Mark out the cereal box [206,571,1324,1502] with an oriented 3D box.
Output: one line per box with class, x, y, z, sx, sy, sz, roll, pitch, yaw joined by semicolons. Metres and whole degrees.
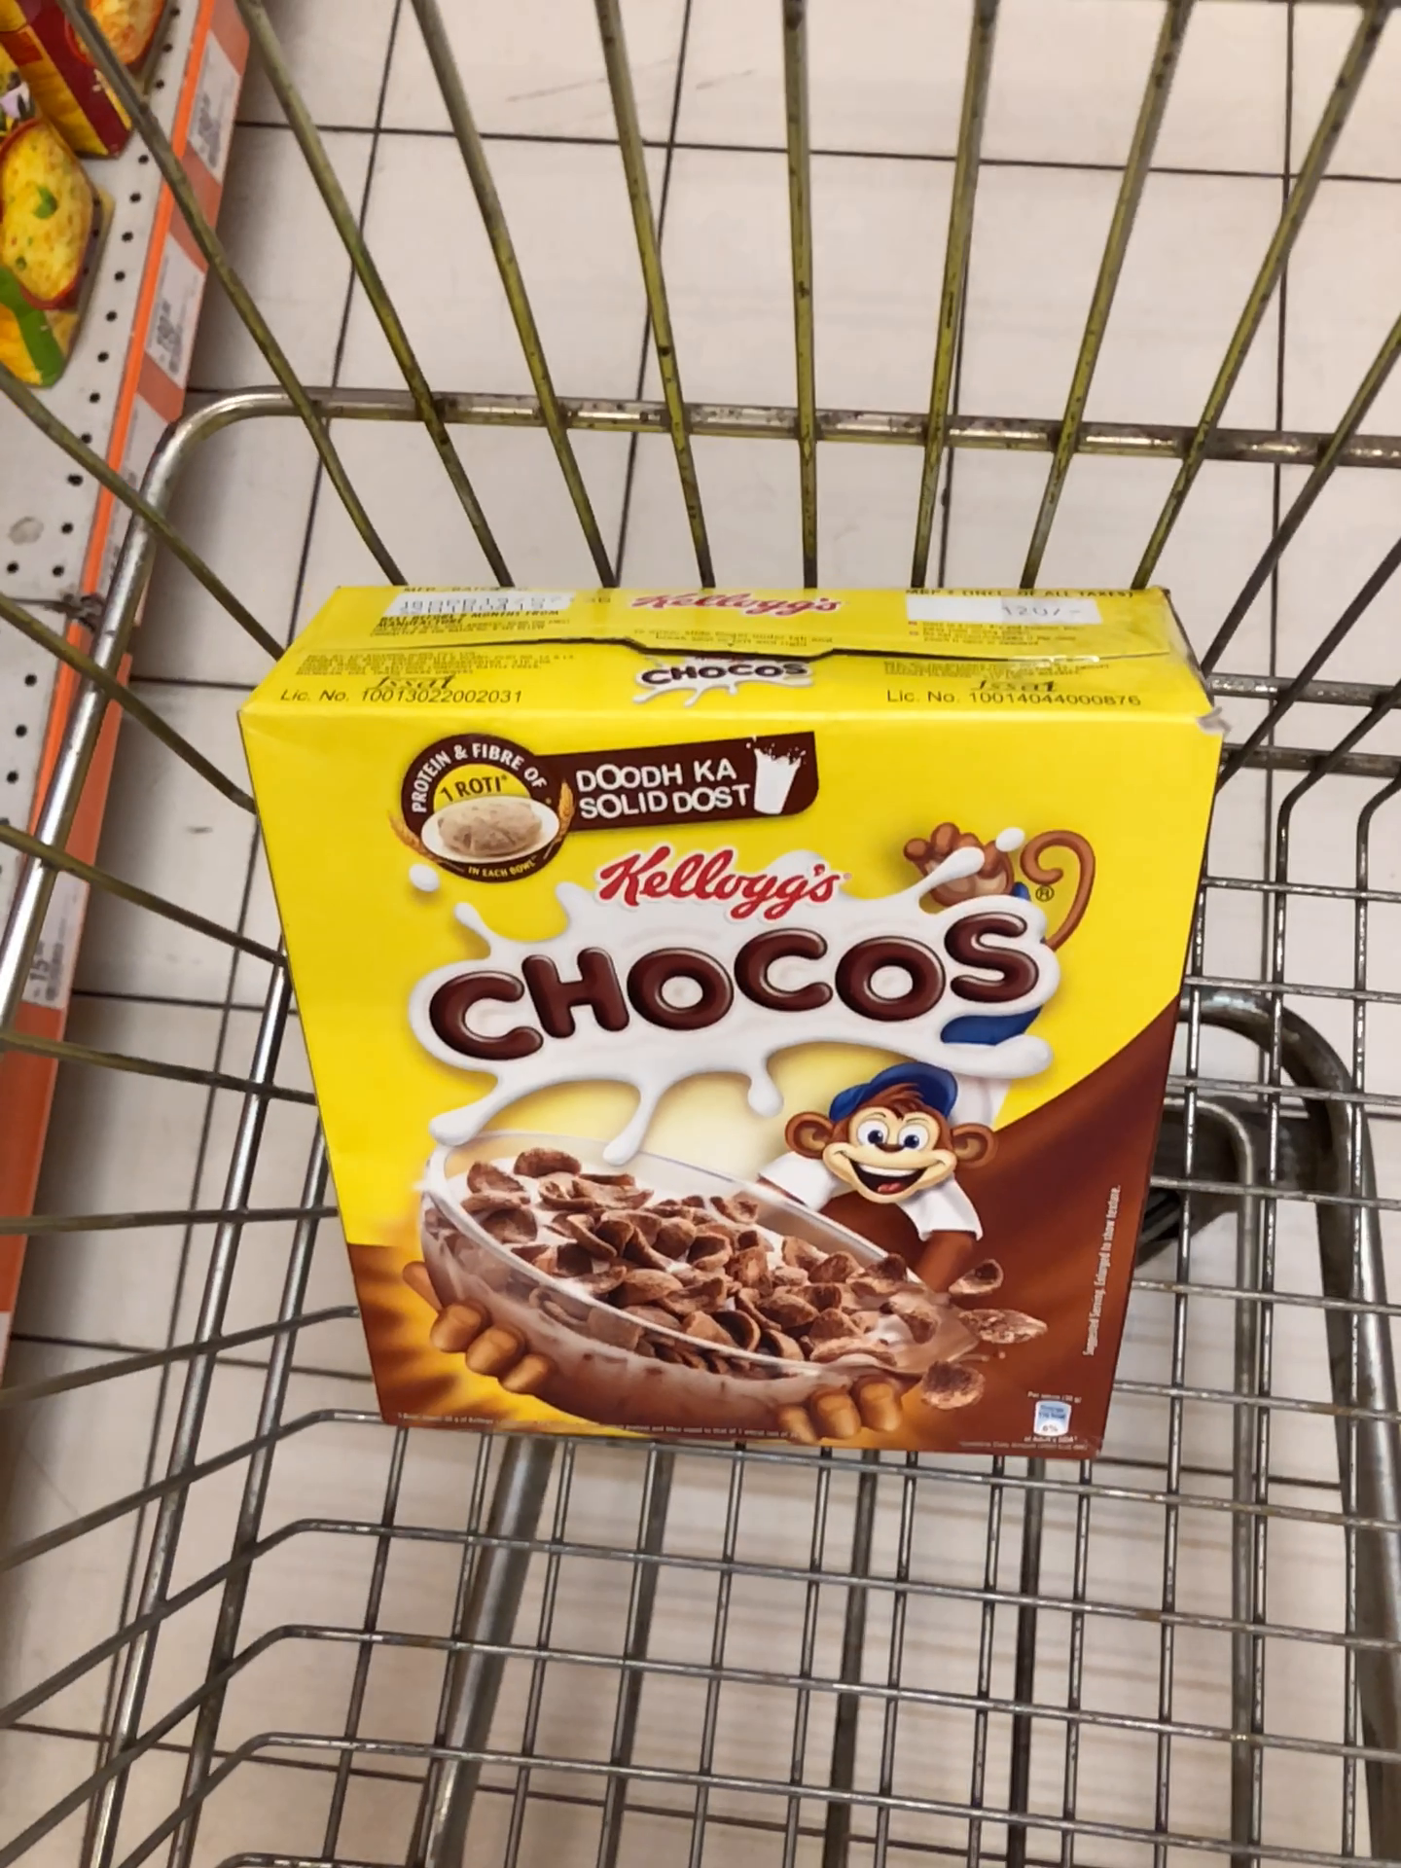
cereal box;0.013;0.028;0.347;0.190;0.070;0.199;1;122;4
